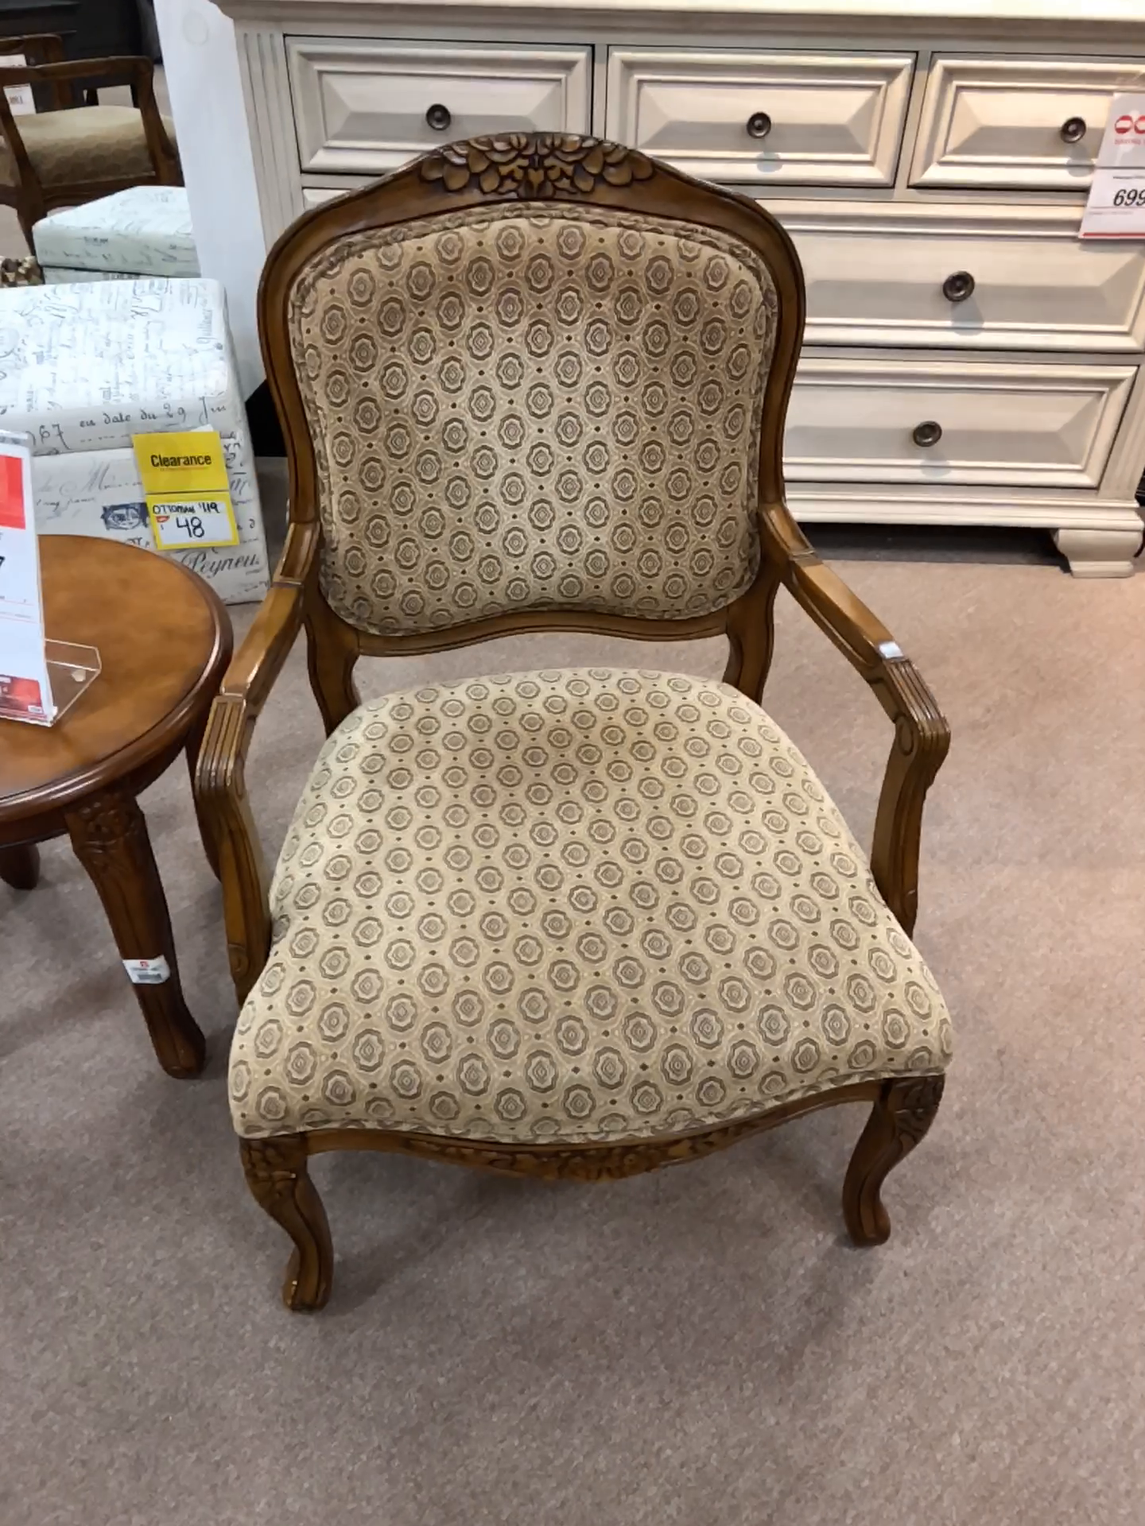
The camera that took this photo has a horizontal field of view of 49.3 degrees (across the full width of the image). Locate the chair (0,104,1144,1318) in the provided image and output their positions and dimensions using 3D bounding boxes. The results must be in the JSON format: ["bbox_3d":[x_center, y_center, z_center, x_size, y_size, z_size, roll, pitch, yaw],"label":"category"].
[{"bbox_3d":[0.009,-0.027,1.352,0.780,1.063,0.705,-4,42,-5],"label":"chair"}]
